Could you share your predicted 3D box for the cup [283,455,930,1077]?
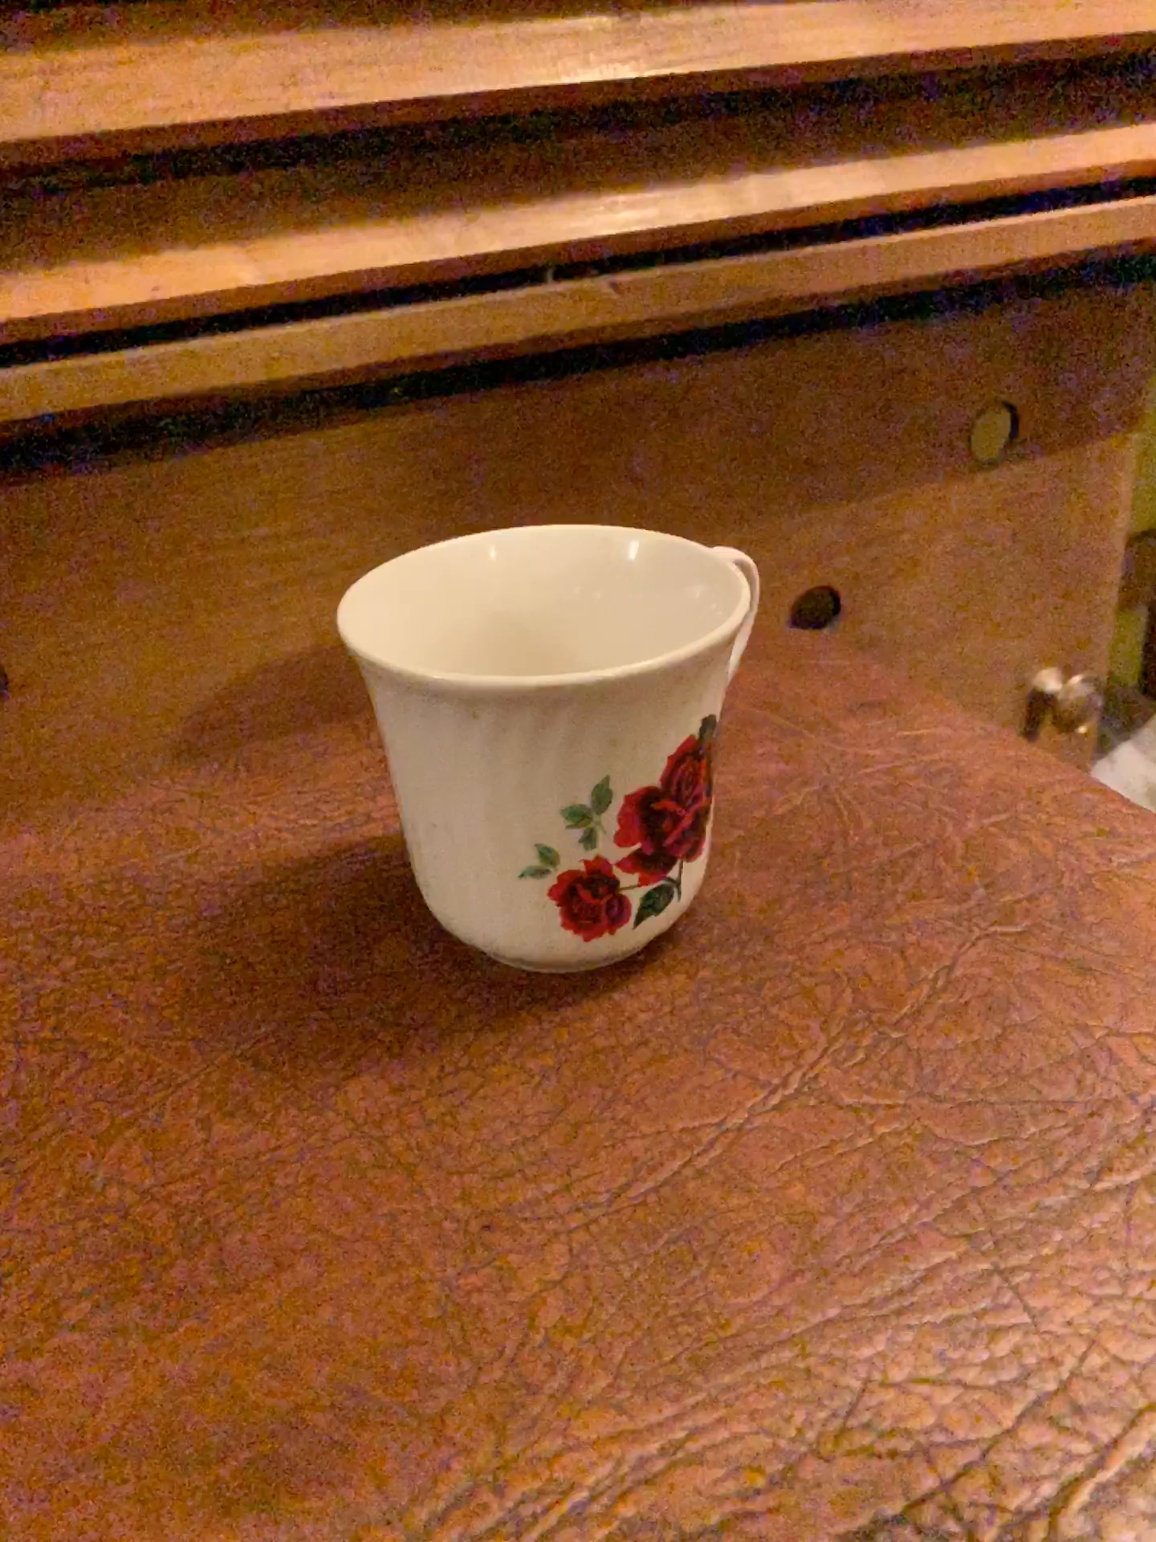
[{"bbox_3d":[0.013,-0.012,0.268,0.085,0.082,0.112,17,35,36],"label":"cup"}]
